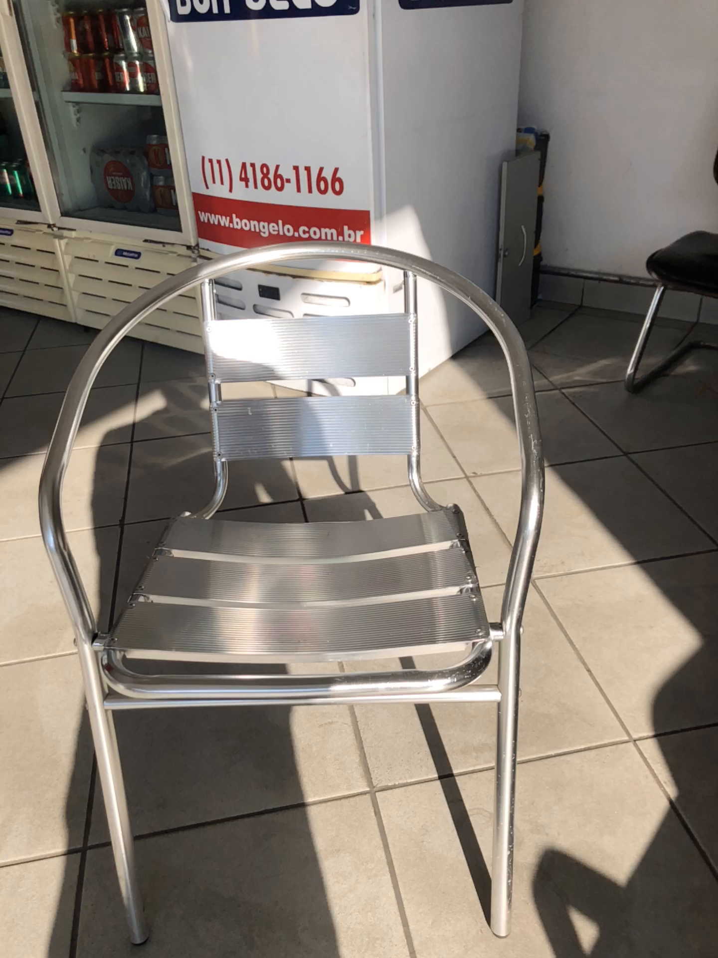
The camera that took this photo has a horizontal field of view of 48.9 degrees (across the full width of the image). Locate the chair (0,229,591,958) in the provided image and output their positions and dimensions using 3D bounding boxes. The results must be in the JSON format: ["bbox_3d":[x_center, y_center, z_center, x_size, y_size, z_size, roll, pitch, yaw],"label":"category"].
[{"bbox_3d":[-0.066,0.110,1.054,0.520,0.705,0.634,-2,30,2],"label":"chair"}]
